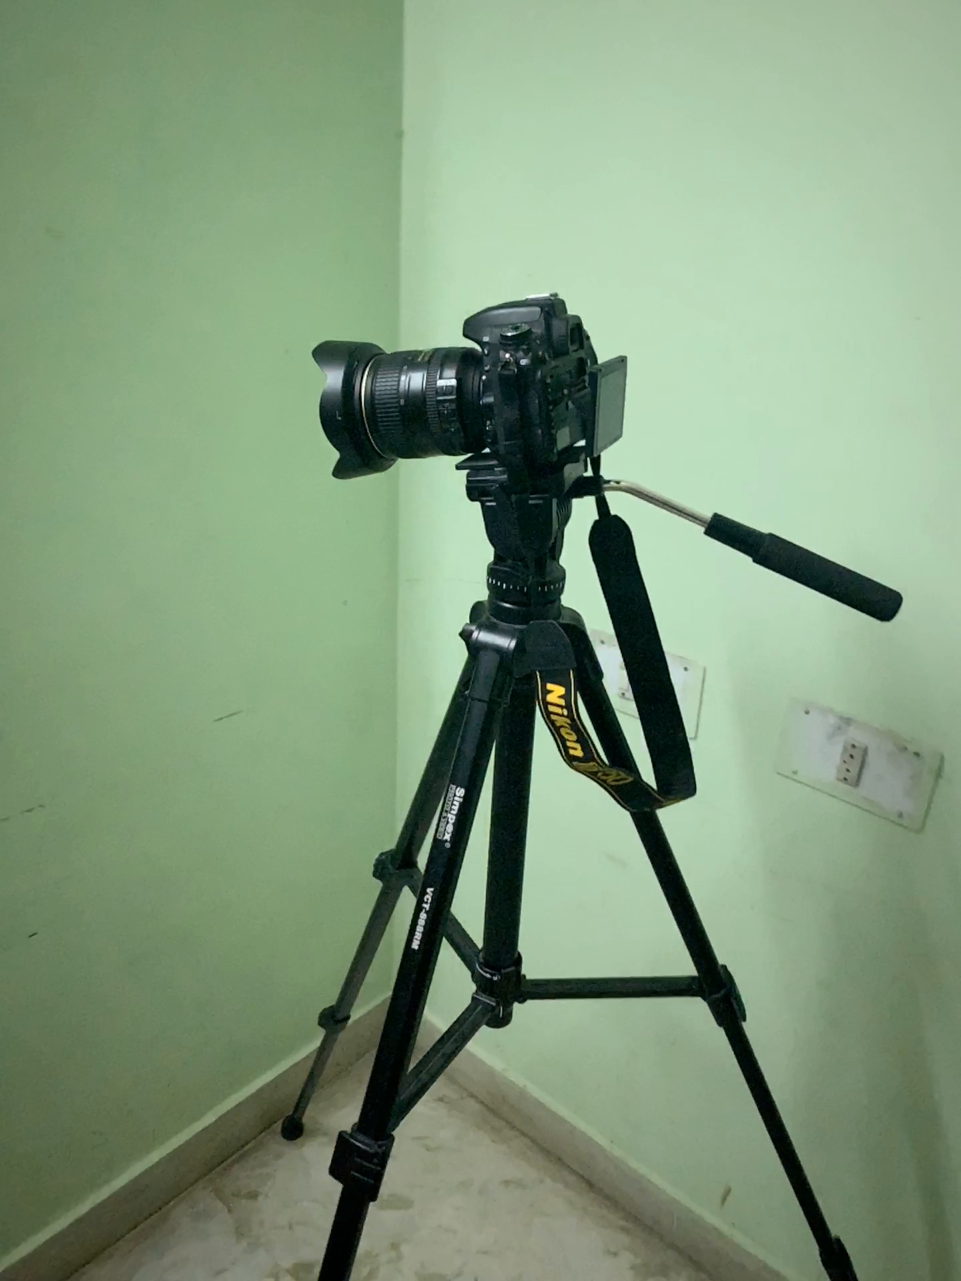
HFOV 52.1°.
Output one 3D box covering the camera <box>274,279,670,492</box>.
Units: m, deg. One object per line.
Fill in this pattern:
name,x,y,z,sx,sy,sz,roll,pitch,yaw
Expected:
camera,0.004,-0.203,0.776,0.266,0.127,0.161,0,20,17
